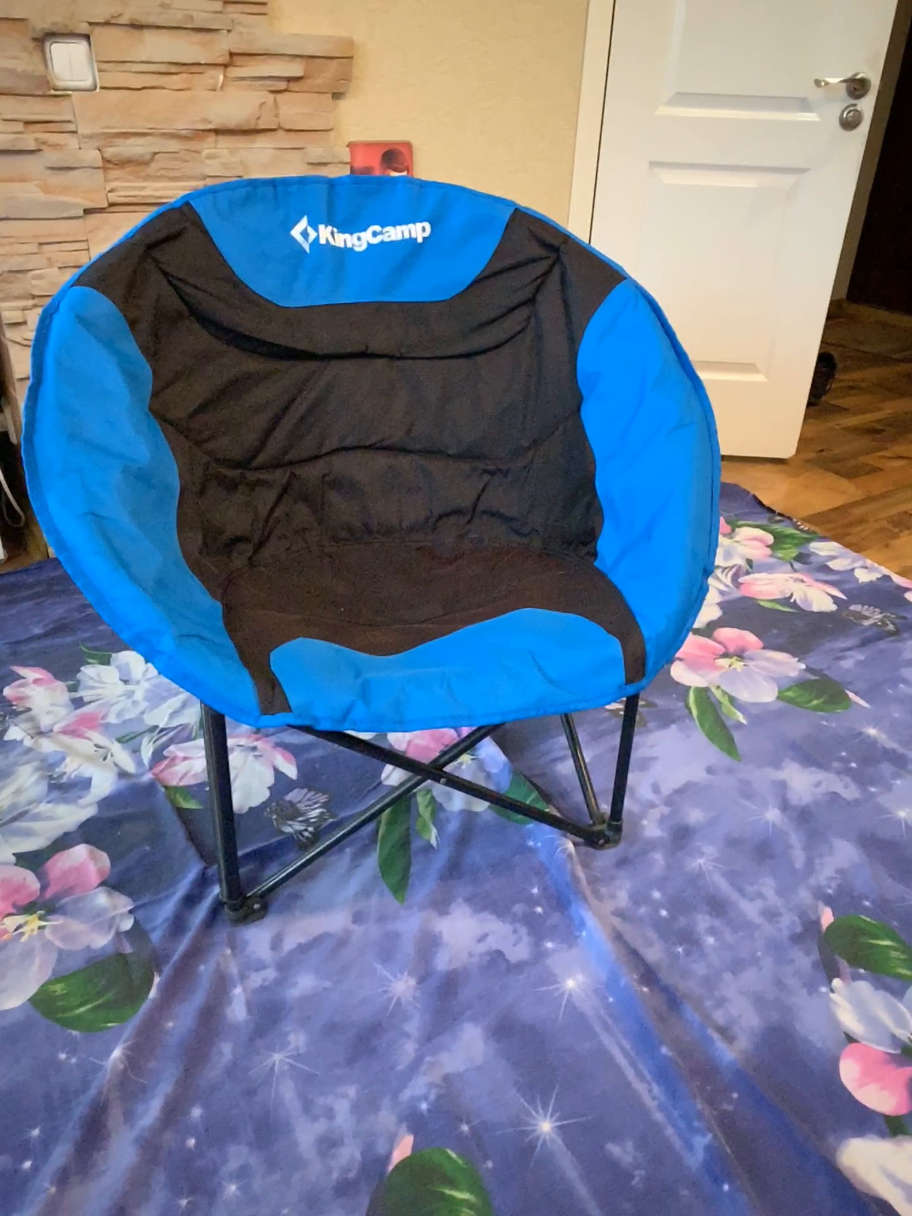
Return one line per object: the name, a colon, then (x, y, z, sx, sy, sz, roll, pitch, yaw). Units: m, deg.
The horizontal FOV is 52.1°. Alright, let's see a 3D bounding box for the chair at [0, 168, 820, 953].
chair: (-0.111, -0.125, 1.239, 0.760, 0.772, 0.613, -6, 30, -14)
